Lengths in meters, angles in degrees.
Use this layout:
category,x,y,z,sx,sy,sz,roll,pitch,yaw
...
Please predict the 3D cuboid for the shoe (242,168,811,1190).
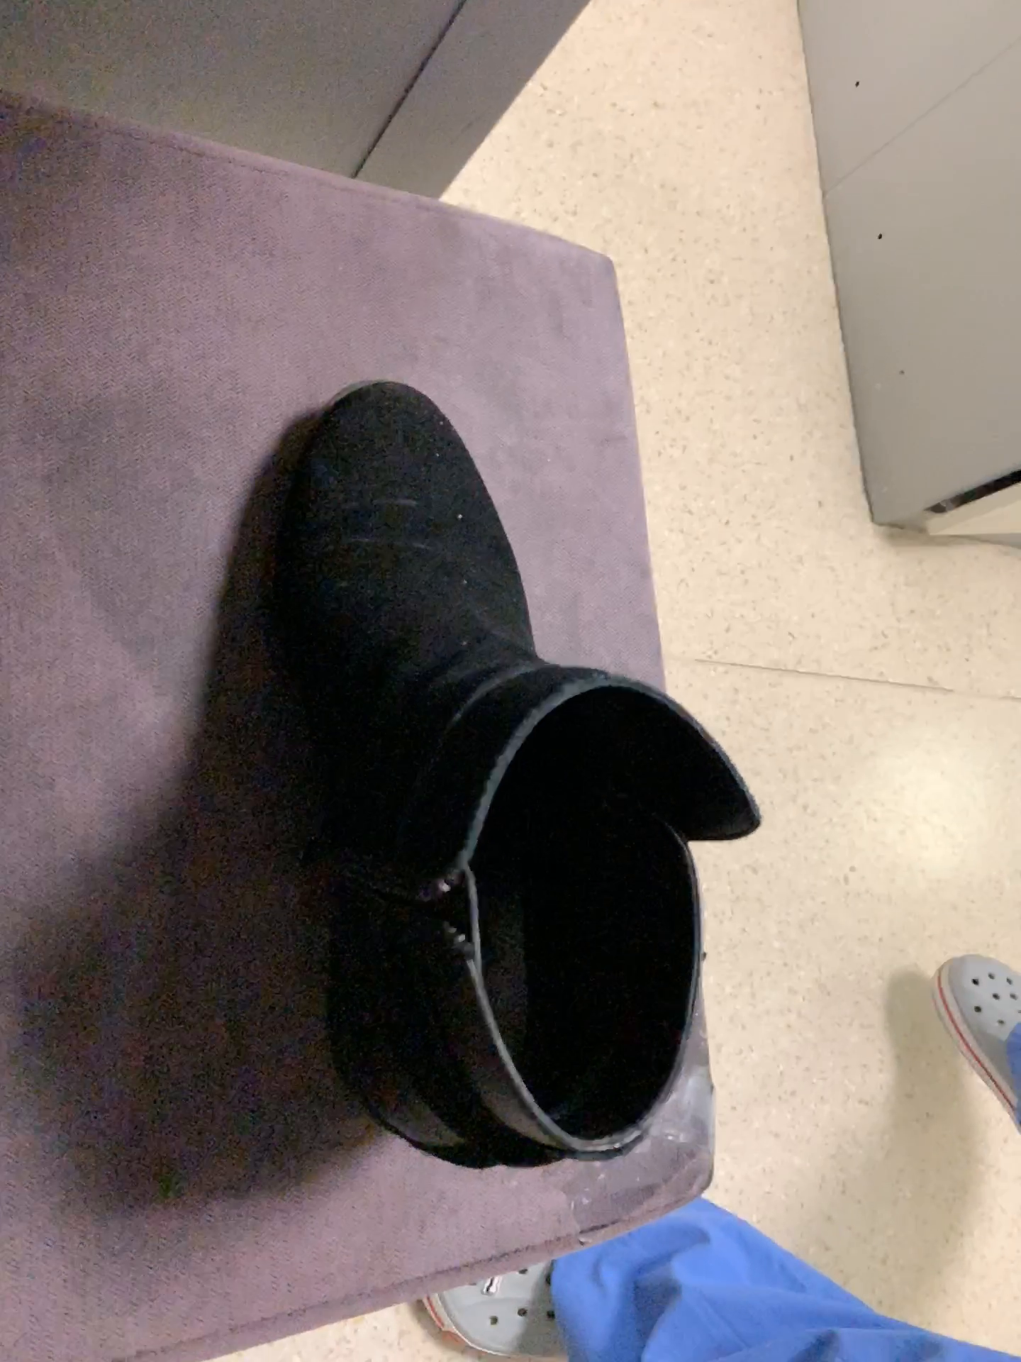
category,x,y,z,sx,sy,sz,roll,pitch,yaw
shoe,-0.011,0.004,0.317,0.101,0.137,0.235,3,76,-30
